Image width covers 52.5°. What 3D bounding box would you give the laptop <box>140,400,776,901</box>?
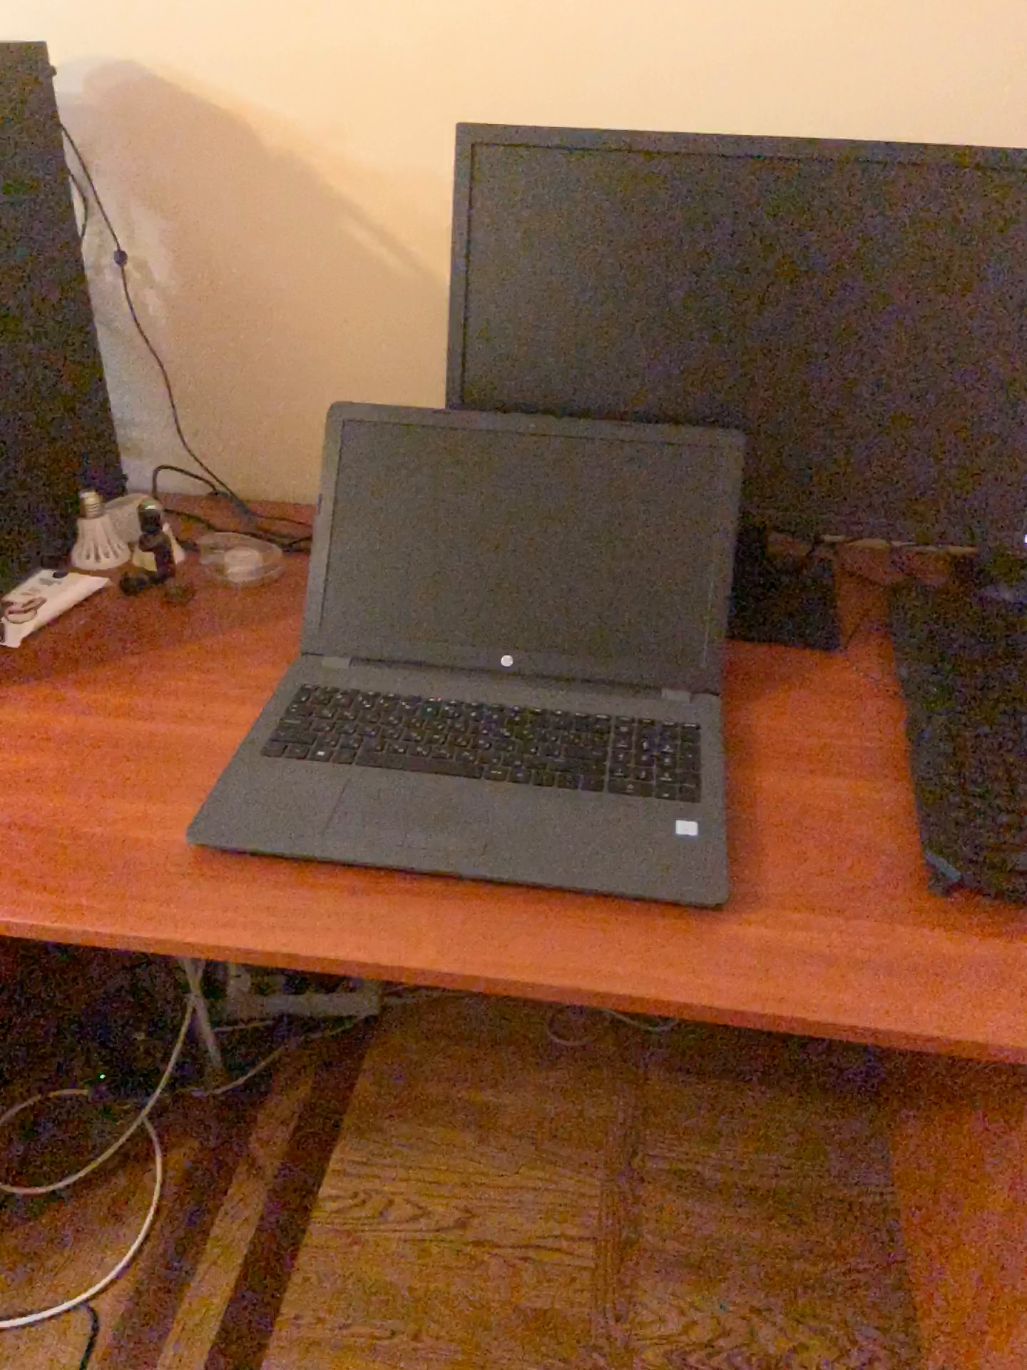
[{"bbox_3d":[-0.013,-0.059,0.815,0.372,0.188,0.394,6,32,6],"label":"laptop"}]
